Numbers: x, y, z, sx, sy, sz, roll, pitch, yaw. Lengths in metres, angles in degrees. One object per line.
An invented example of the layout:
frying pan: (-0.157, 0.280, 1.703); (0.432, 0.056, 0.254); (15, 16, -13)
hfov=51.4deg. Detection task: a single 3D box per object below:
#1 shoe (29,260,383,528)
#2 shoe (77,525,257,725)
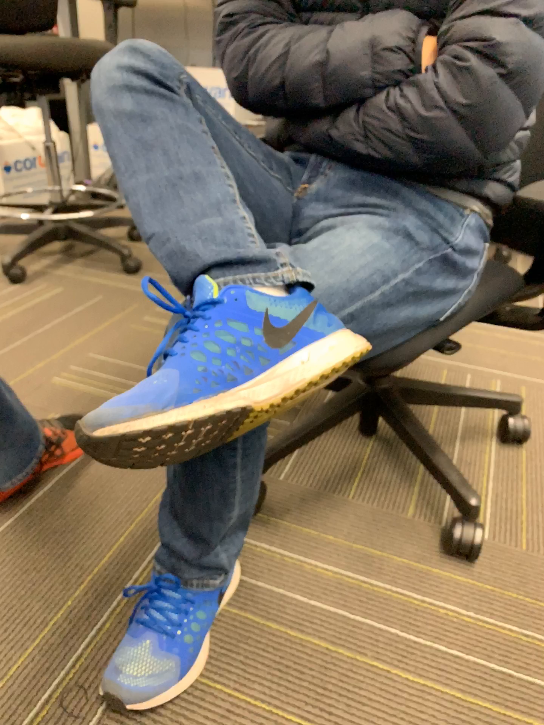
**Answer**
shoe: (-0.050, 0.012, 0.493); (0.276, 0.116, 0.104); (-21, 61, -38)
shoe: (-0.131, 0.370, 0.795); (0.101, 0.086, 0.285); (15, 30, 20)
